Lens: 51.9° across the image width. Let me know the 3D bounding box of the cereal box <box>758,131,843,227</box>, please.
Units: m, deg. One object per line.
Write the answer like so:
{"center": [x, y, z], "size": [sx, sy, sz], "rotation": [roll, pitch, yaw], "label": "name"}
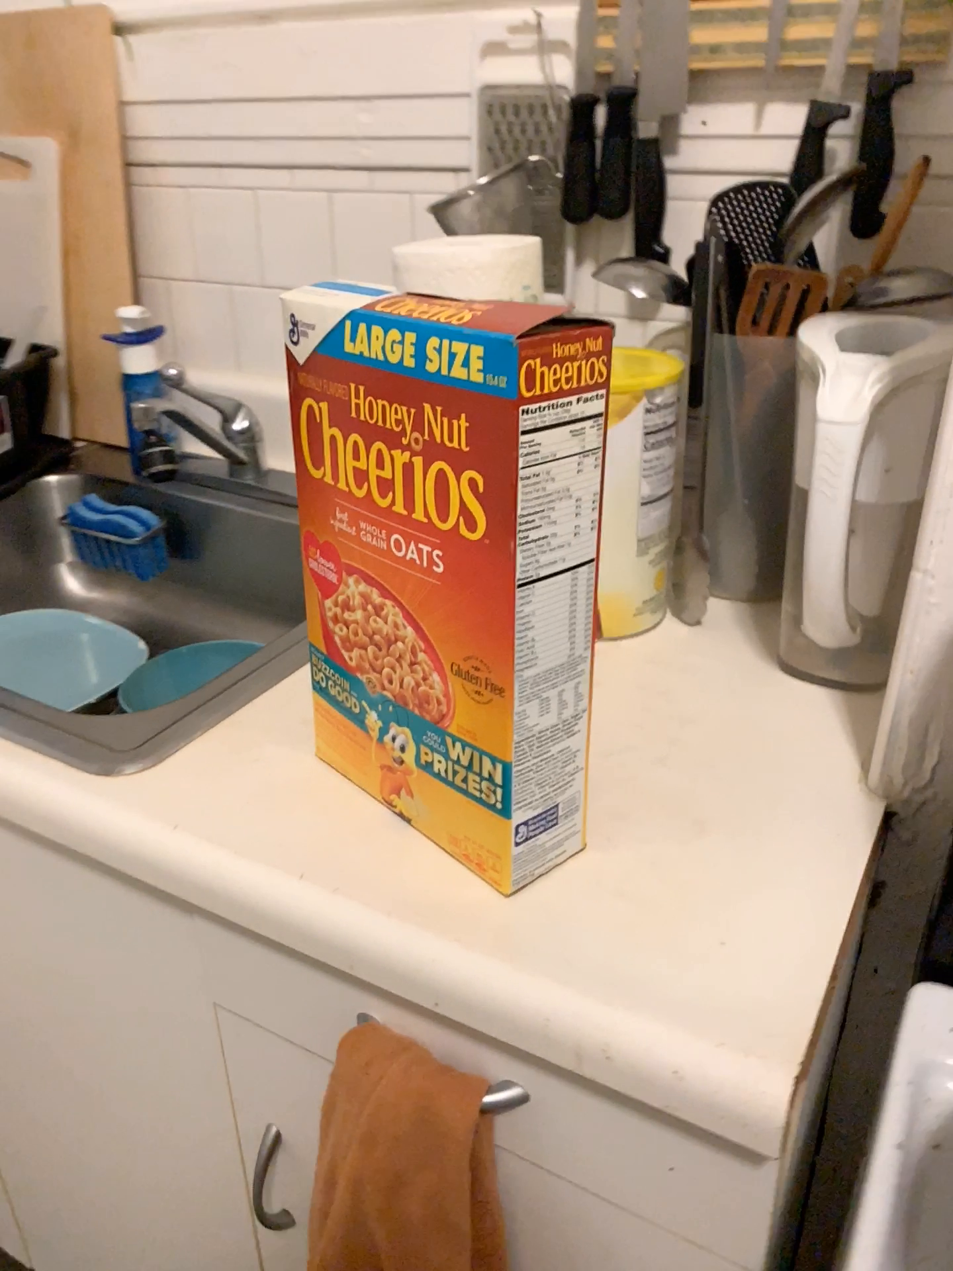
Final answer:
{"center": [3.338, -4.730, 10.136], "size": [0.501, 0.865, 0.552], "rotation": [-23, 35, -37], "label": "cereal box"}
